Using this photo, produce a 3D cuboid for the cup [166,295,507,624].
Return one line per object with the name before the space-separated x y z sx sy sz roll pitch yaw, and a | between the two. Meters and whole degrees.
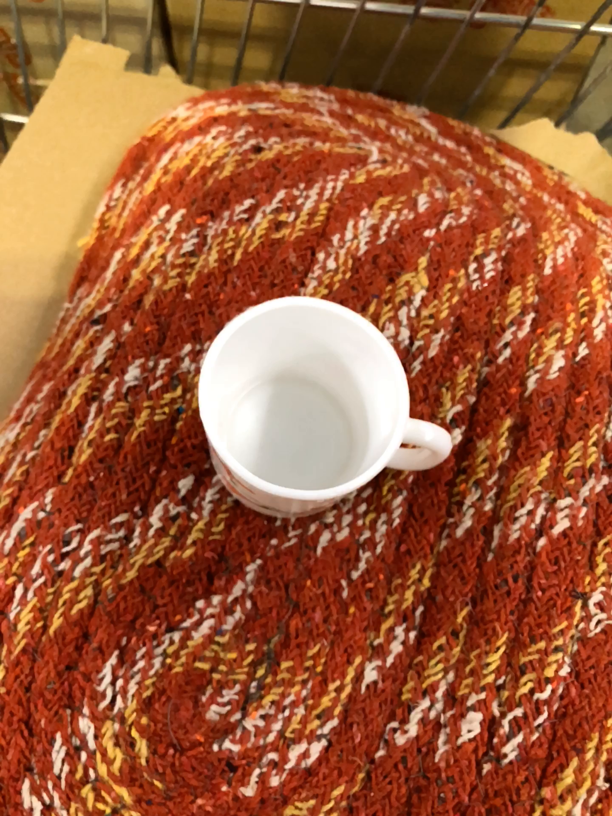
cup | 0.009 0.019 0.213 0.080 0.060 0.070 14 68 -1
